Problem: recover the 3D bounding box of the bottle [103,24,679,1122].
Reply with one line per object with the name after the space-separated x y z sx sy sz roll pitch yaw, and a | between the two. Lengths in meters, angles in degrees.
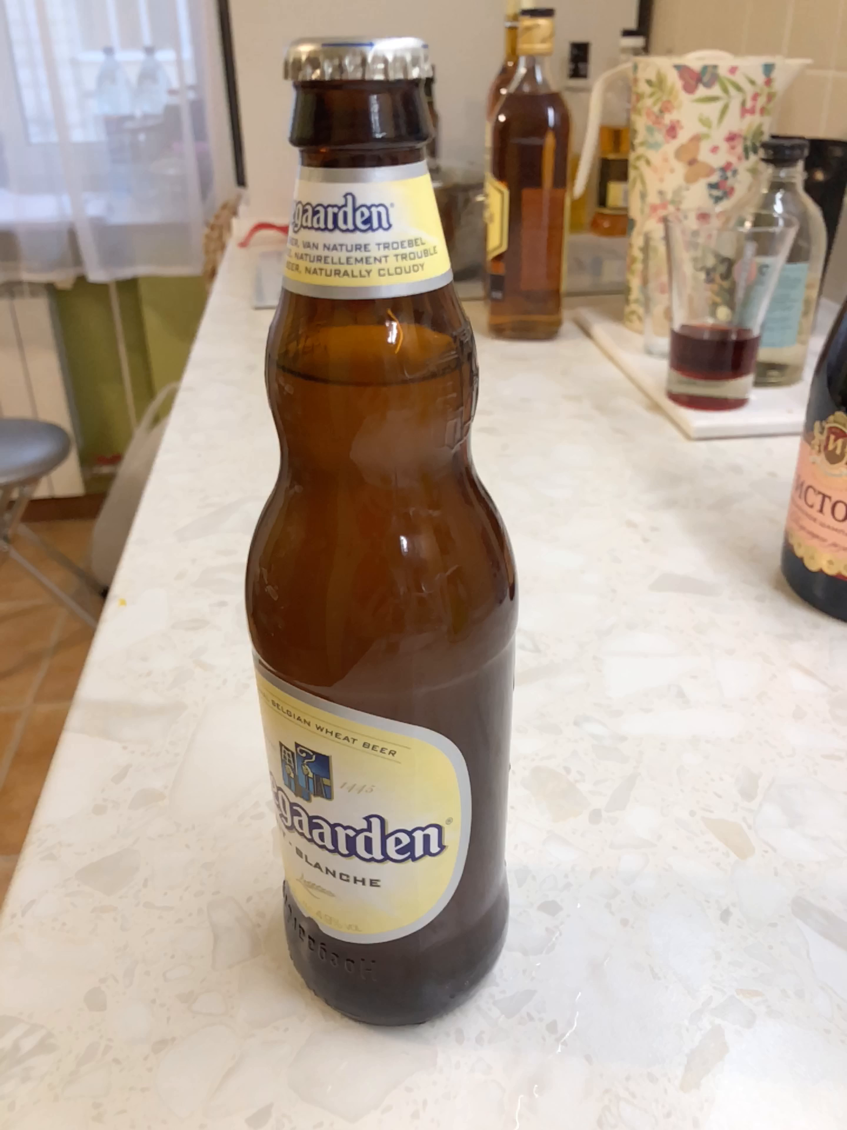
-0.003 0.010 0.232 0.070 0.248 0.080 24 37 37 | bottle
